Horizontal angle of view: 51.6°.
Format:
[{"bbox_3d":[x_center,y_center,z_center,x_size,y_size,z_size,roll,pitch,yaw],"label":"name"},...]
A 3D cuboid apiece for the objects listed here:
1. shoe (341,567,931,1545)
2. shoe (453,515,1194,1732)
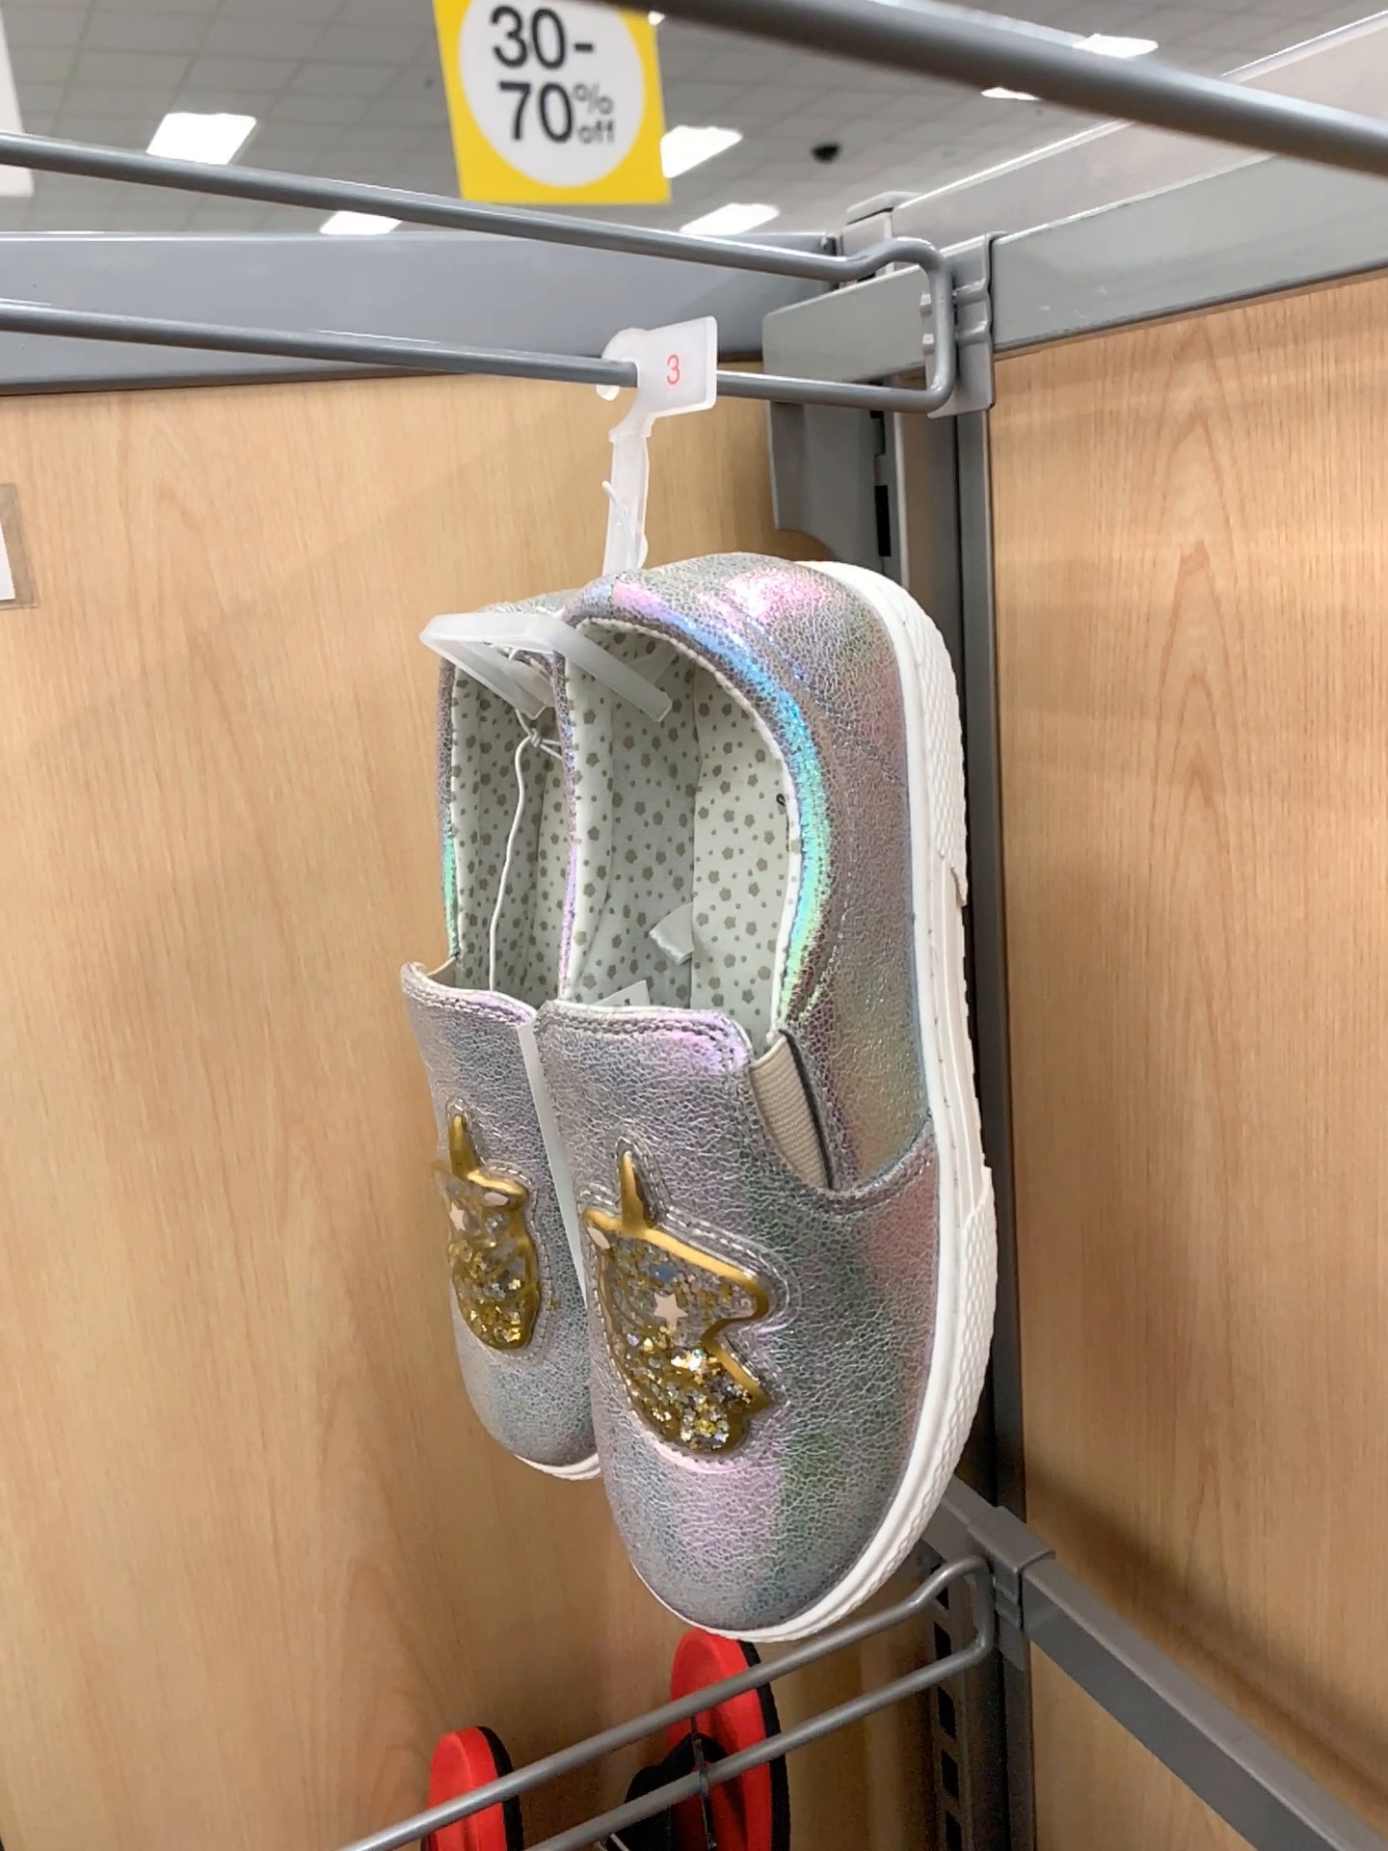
[{"bbox_3d":[-0.014,0.021,0.384,0.113,0.221,0.100,-10,15,-30],"label":"shoe"},{"bbox_3d":[0.027,0.027,0.317,0.113,0.221,0.100,-10,15,-30],"label":"shoe"}]
